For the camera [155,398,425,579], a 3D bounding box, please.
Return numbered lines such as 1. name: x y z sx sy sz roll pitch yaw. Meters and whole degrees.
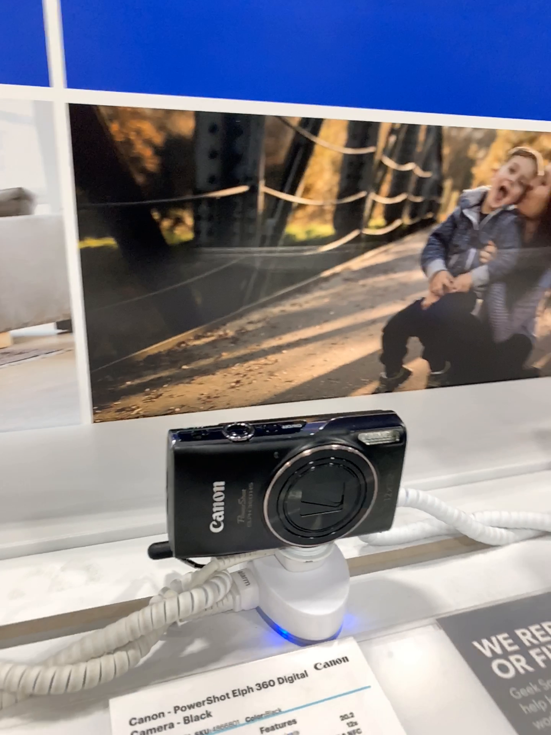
1. camera: 0.005 0.048 0.239 0.106 0.055 0.027 -4 23 -18
